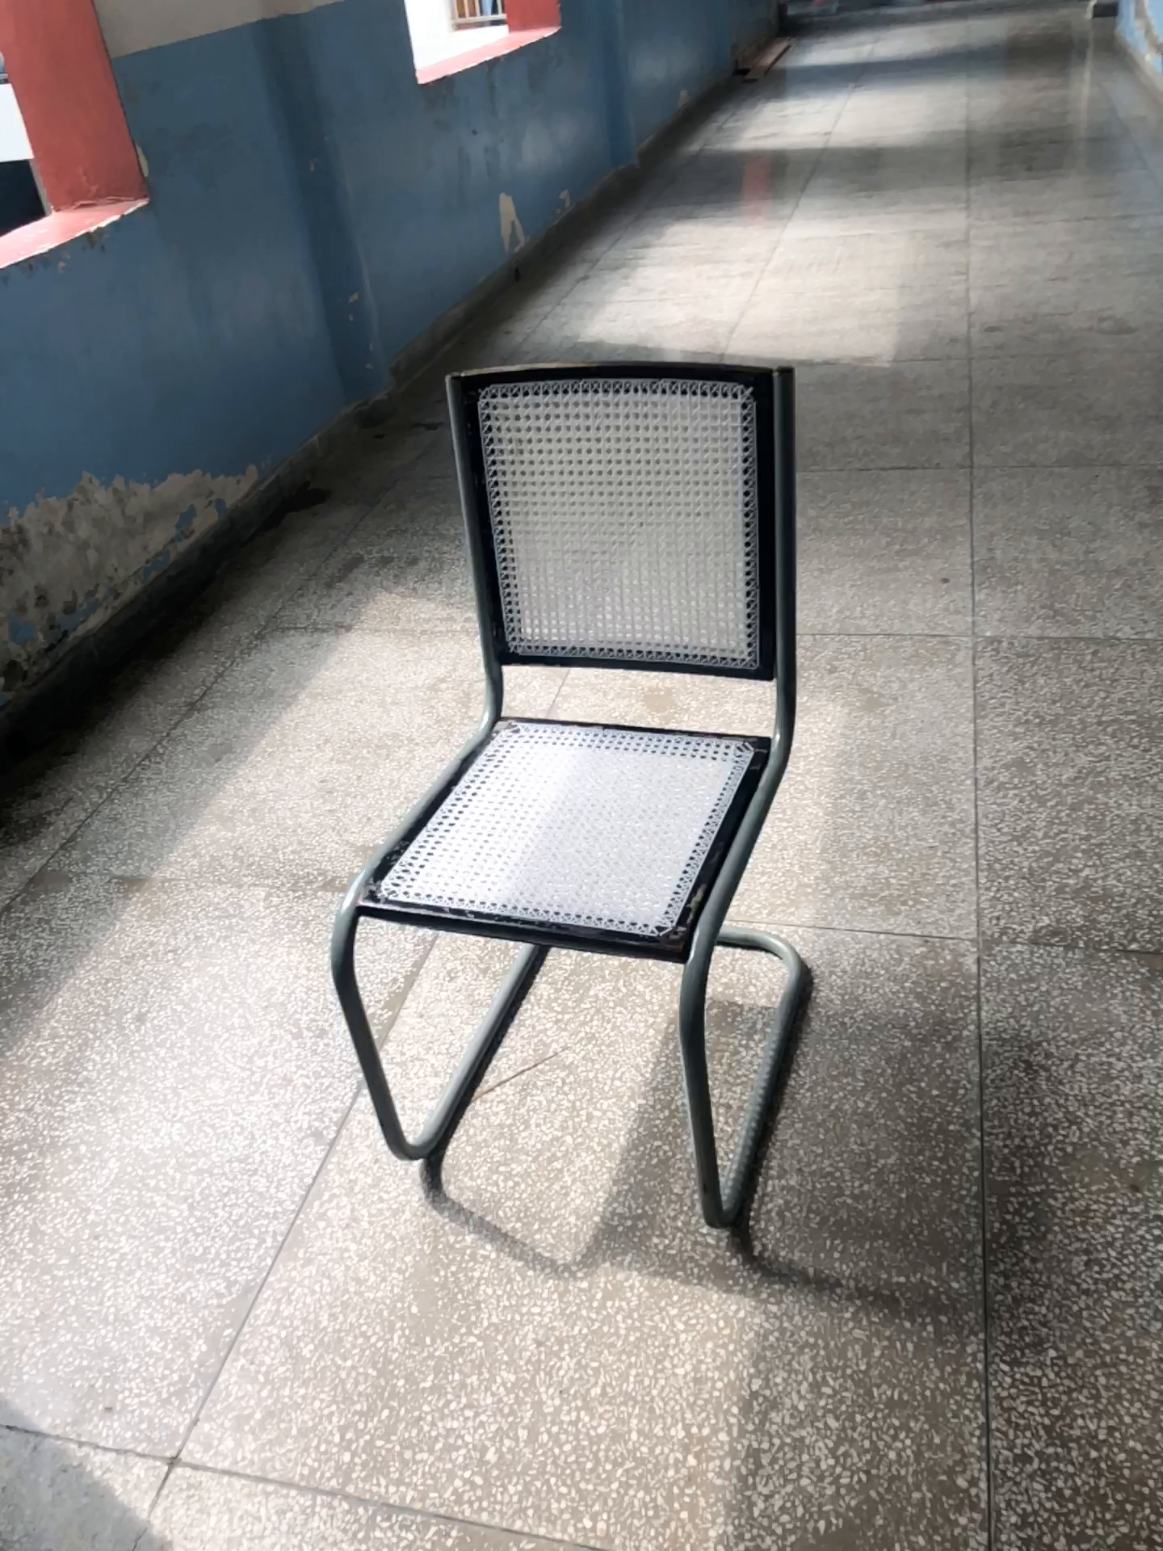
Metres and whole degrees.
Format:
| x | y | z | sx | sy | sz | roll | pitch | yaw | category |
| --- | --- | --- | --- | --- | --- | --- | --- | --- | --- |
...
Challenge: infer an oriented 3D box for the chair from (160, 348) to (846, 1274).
| x | y | z | sx | sy | sz | roll | pitch | yaw | category |
| --- | --- | --- | --- | --- | --- | --- | --- | --- | --- |
| 0.008 | 0.018 | 1.452 | 0.490 | 0.816 | 0.572 | 5 | 36 | 19 | chair |
